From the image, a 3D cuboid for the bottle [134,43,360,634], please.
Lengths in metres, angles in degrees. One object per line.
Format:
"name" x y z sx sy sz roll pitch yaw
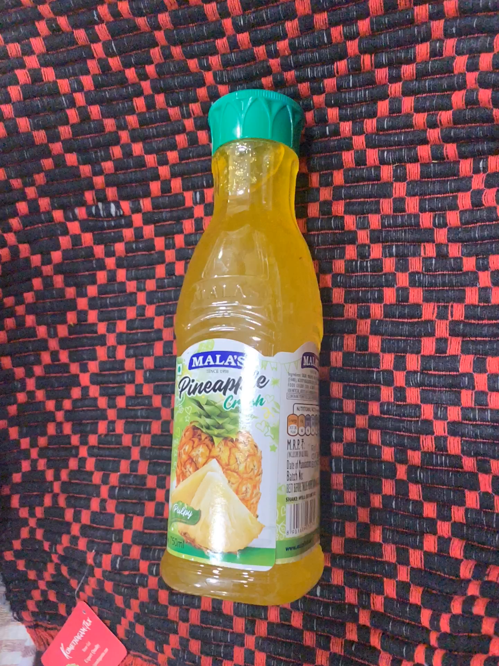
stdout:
"bottle" 0.005 -0.001 0.245 0.080 0.070 0.230 -2 81 21
